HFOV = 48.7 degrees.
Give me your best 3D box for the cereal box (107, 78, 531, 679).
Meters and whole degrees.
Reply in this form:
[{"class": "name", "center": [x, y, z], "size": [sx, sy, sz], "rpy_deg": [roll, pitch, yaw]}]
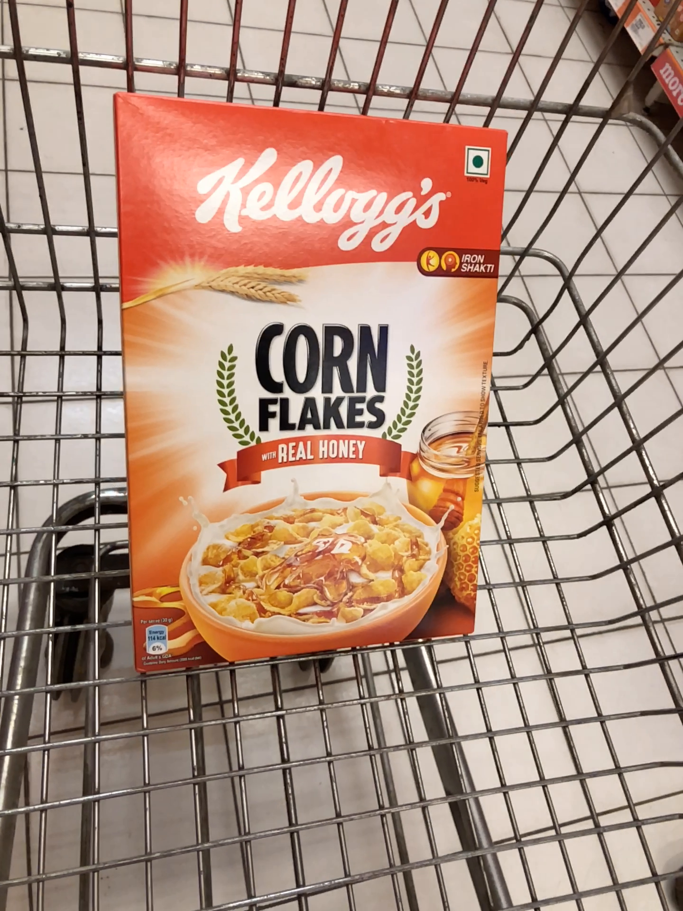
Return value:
[{"class": "cereal box", "center": [-0.017, -0.035, 0.391], "size": [0.190, 0.080, 0.260], "rpy_deg": [-2, 103, -17]}]
